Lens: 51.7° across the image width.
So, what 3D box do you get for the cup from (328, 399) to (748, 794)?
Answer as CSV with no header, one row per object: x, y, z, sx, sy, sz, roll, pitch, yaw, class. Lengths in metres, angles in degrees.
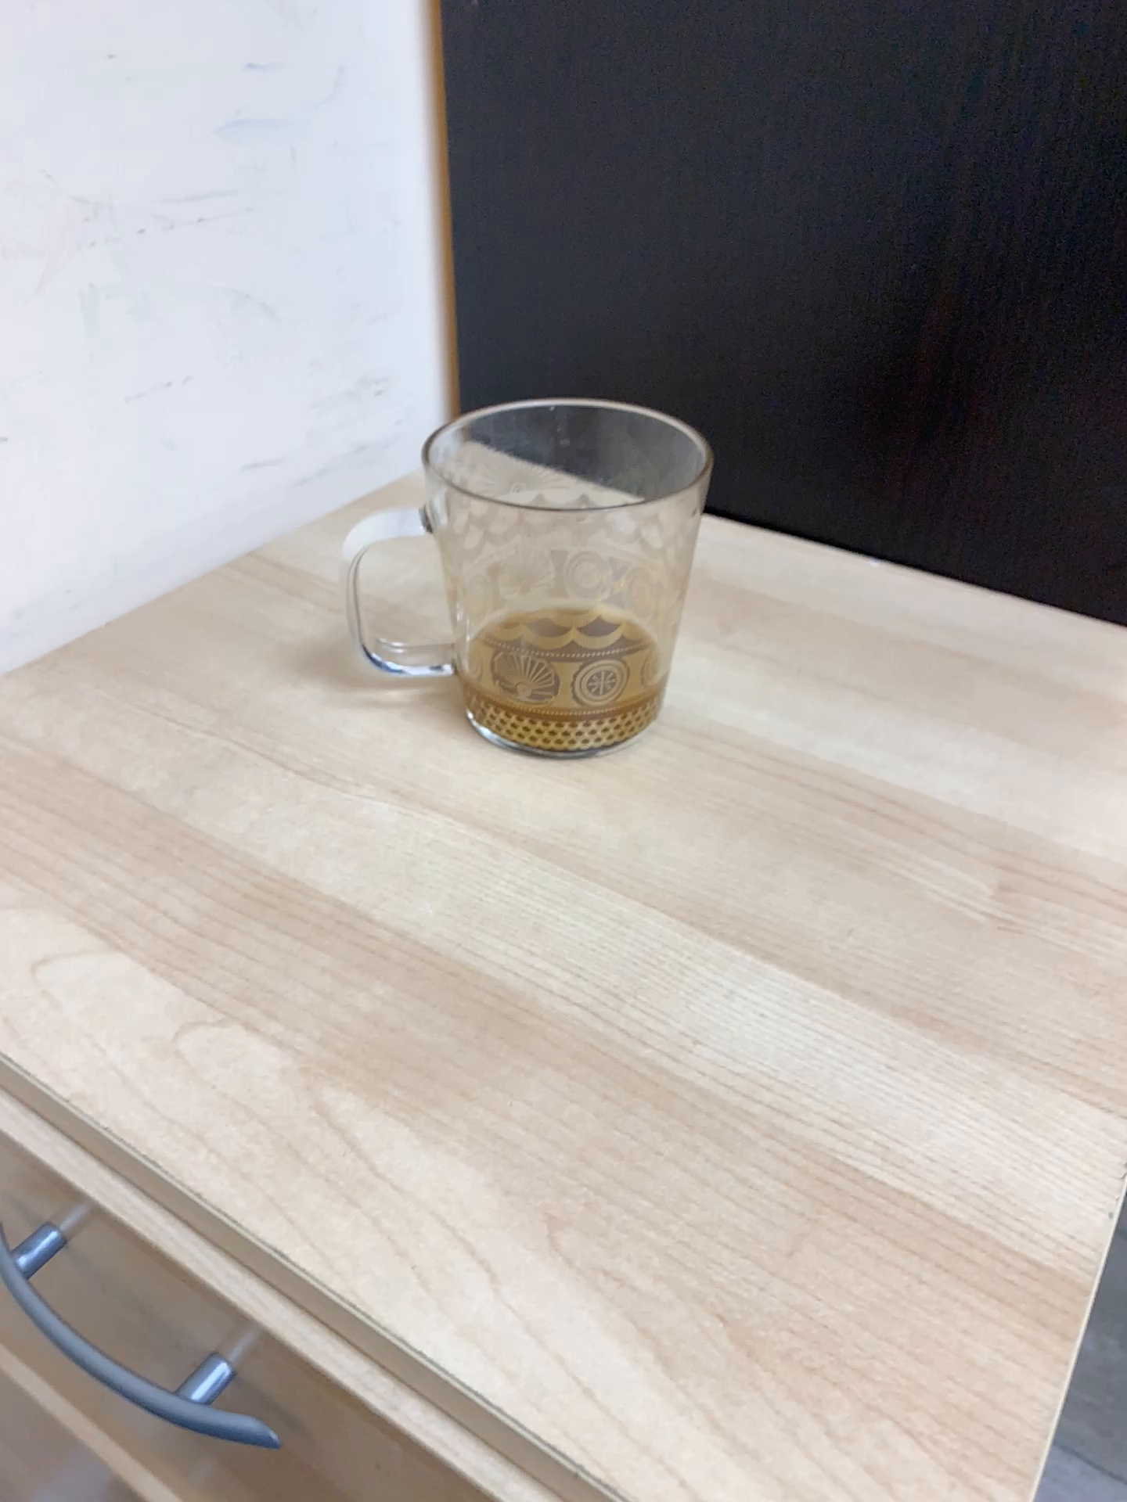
-0.012,-0.058,0.411,0.124,0.098,0.099,-4,35,-6,cup
